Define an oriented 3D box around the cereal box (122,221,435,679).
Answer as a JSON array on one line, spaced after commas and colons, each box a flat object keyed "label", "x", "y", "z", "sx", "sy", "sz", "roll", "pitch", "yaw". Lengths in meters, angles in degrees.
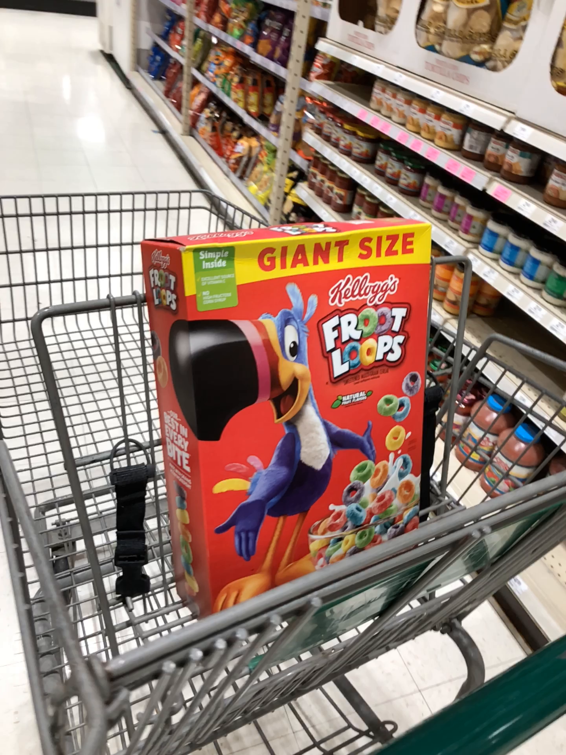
[{"label": "cereal box", "x": 0.008, "y": 0.050, "z": 0.586, "sx": 0.260, "sy": 0.369, "sz": 0.090, "roll": -11, "pitch": 19, "yaw": -30}]
